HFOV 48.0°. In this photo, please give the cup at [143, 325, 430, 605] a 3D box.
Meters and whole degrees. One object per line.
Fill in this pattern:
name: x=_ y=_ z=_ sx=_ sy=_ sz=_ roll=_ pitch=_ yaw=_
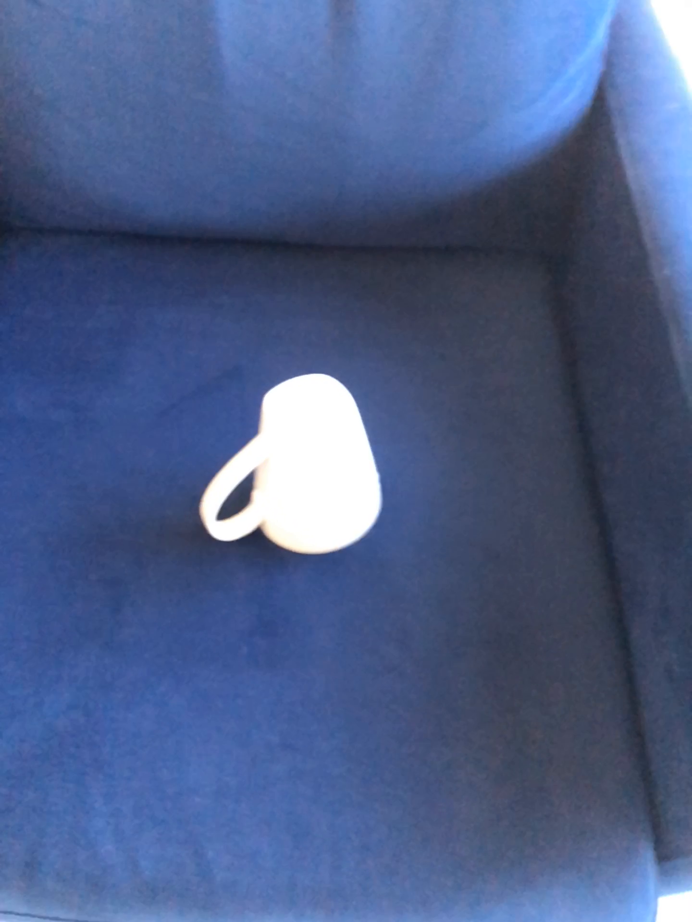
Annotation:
cup: x=-0.039 y=0.001 z=0.533 sx=0.150 sy=0.090 sz=0.110 roll=-26 pitch=59 yaw=-17
